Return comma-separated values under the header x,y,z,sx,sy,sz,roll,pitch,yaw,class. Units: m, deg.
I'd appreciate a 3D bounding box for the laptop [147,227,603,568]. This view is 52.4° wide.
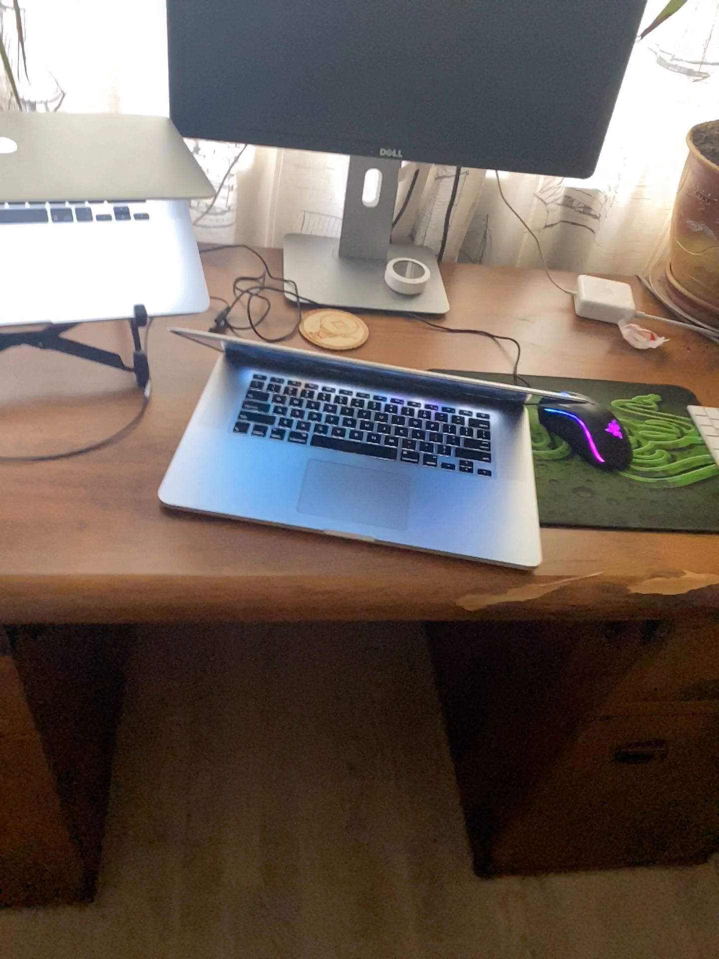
x,y,z,sx,sy,sz,roll,pitch,yaw,class
0.015,-0.086,0.697,0.355,0.152,0.236,10,43,0,laptop

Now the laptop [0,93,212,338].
x,y,z,sx,sy,sz,roll,pitch,yaw,class
-0.346,-0.268,0.712,0.355,0.022,0.243,-9,71,-20,laptop
